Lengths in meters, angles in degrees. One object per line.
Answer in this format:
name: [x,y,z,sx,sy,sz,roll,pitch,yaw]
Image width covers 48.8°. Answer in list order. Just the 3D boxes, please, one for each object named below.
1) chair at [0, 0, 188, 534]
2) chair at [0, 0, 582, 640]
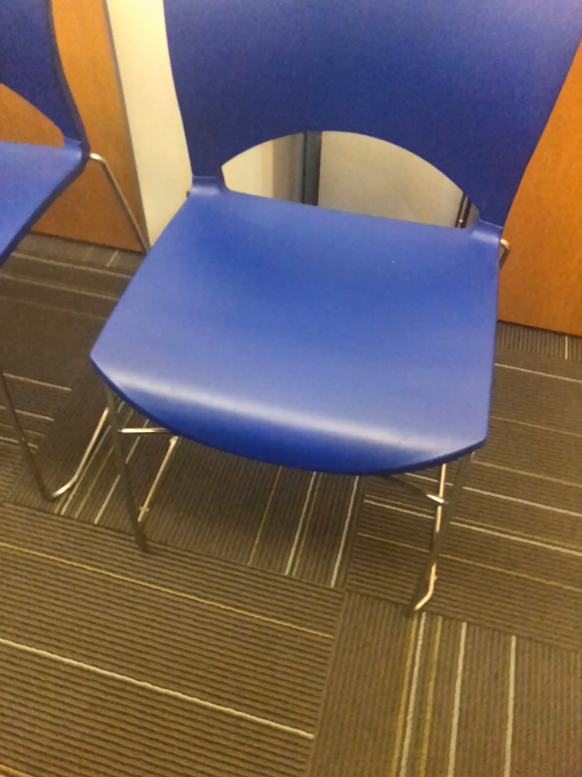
chair: [-0.562,-0.295,1.063,0.520,0.853,0.635,11,51,7]
chair: [0.057,-0.145,0.899,0.540,0.774,0.595,12,51,8]
